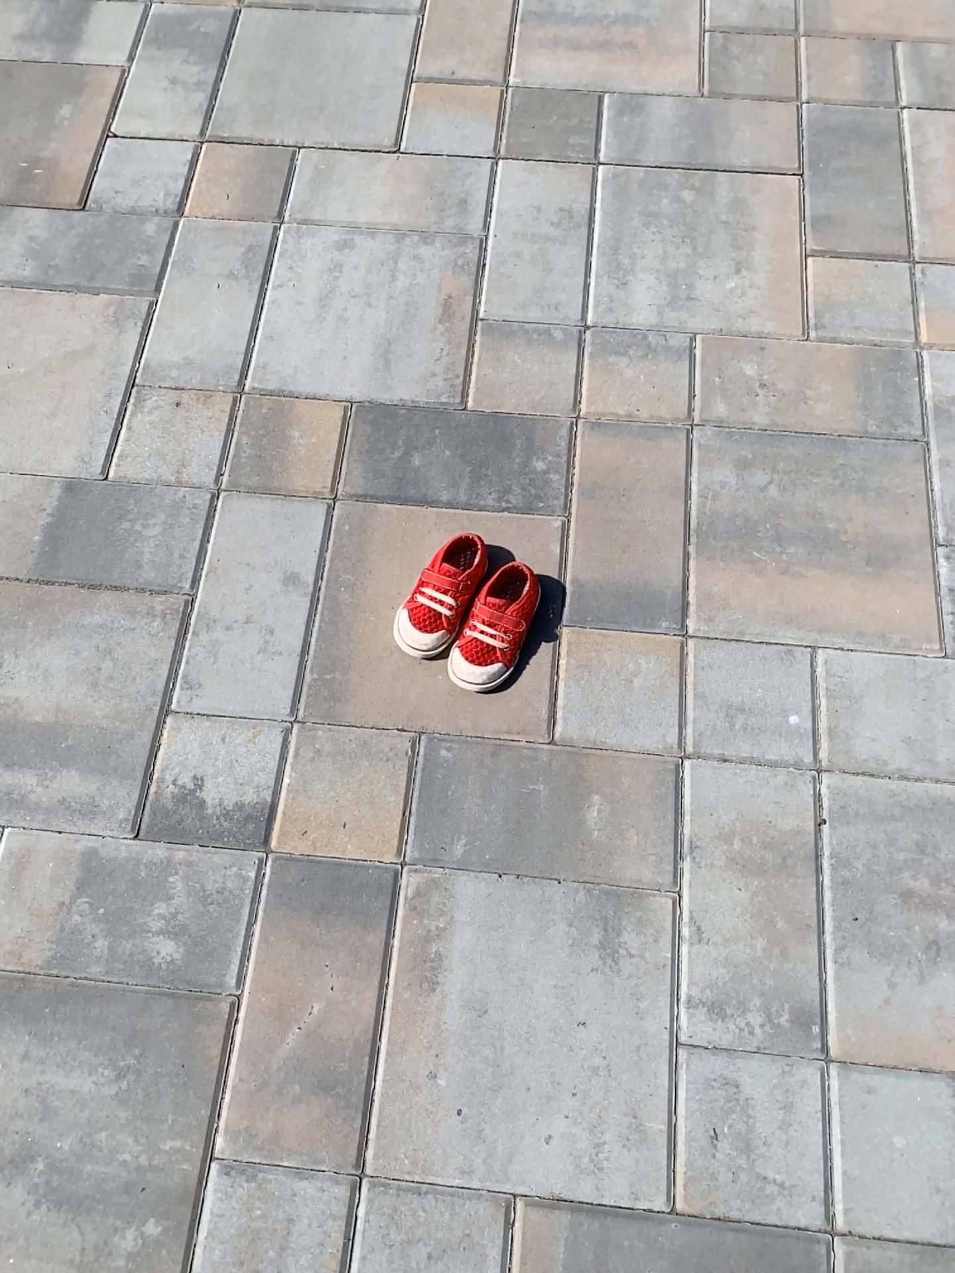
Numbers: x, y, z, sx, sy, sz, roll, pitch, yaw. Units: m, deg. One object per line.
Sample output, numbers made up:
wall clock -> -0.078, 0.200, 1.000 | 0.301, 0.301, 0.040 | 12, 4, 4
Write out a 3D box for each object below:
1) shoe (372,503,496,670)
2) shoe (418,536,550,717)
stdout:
shoe -> -0.048, -0.059, 1.172 | 0.070, 0.100, 0.160 | 28, 70, 12
shoe -> 0.010, -0.012, 1.165 | 0.090, 0.100, 0.170 | 22, 69, 10
